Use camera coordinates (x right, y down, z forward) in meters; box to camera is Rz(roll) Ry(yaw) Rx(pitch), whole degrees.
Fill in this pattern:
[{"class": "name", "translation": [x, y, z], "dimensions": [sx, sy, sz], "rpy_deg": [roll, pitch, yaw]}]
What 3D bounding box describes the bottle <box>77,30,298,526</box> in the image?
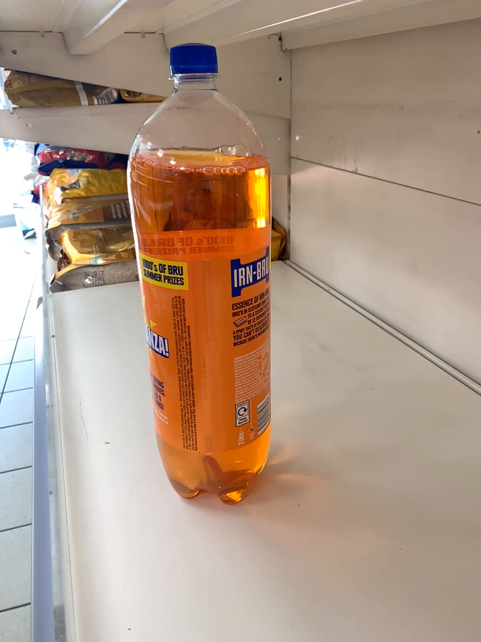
[{"class": "bottle", "translation": [-0.025, -0.019, 0.365], "dimensions": [0.110, 0.327, 0.111], "rpy_deg": [-2, 25, 1]}]
